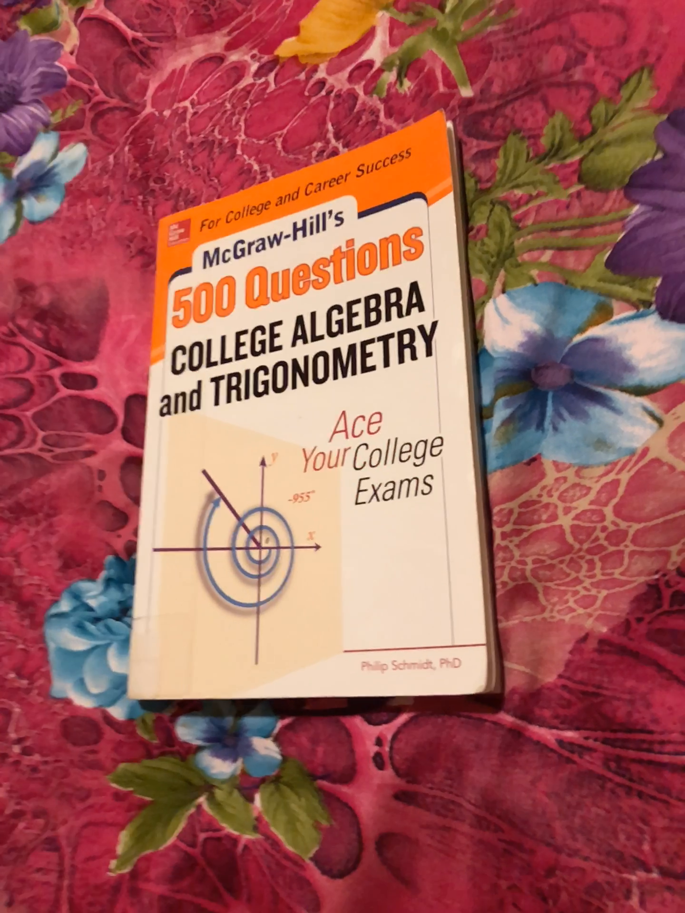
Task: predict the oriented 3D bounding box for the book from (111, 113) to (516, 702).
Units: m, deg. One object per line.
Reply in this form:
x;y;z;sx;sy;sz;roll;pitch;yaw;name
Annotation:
-0.018;-0.016;0.310;0.157;0.022;0.220;-9;72;25;book
